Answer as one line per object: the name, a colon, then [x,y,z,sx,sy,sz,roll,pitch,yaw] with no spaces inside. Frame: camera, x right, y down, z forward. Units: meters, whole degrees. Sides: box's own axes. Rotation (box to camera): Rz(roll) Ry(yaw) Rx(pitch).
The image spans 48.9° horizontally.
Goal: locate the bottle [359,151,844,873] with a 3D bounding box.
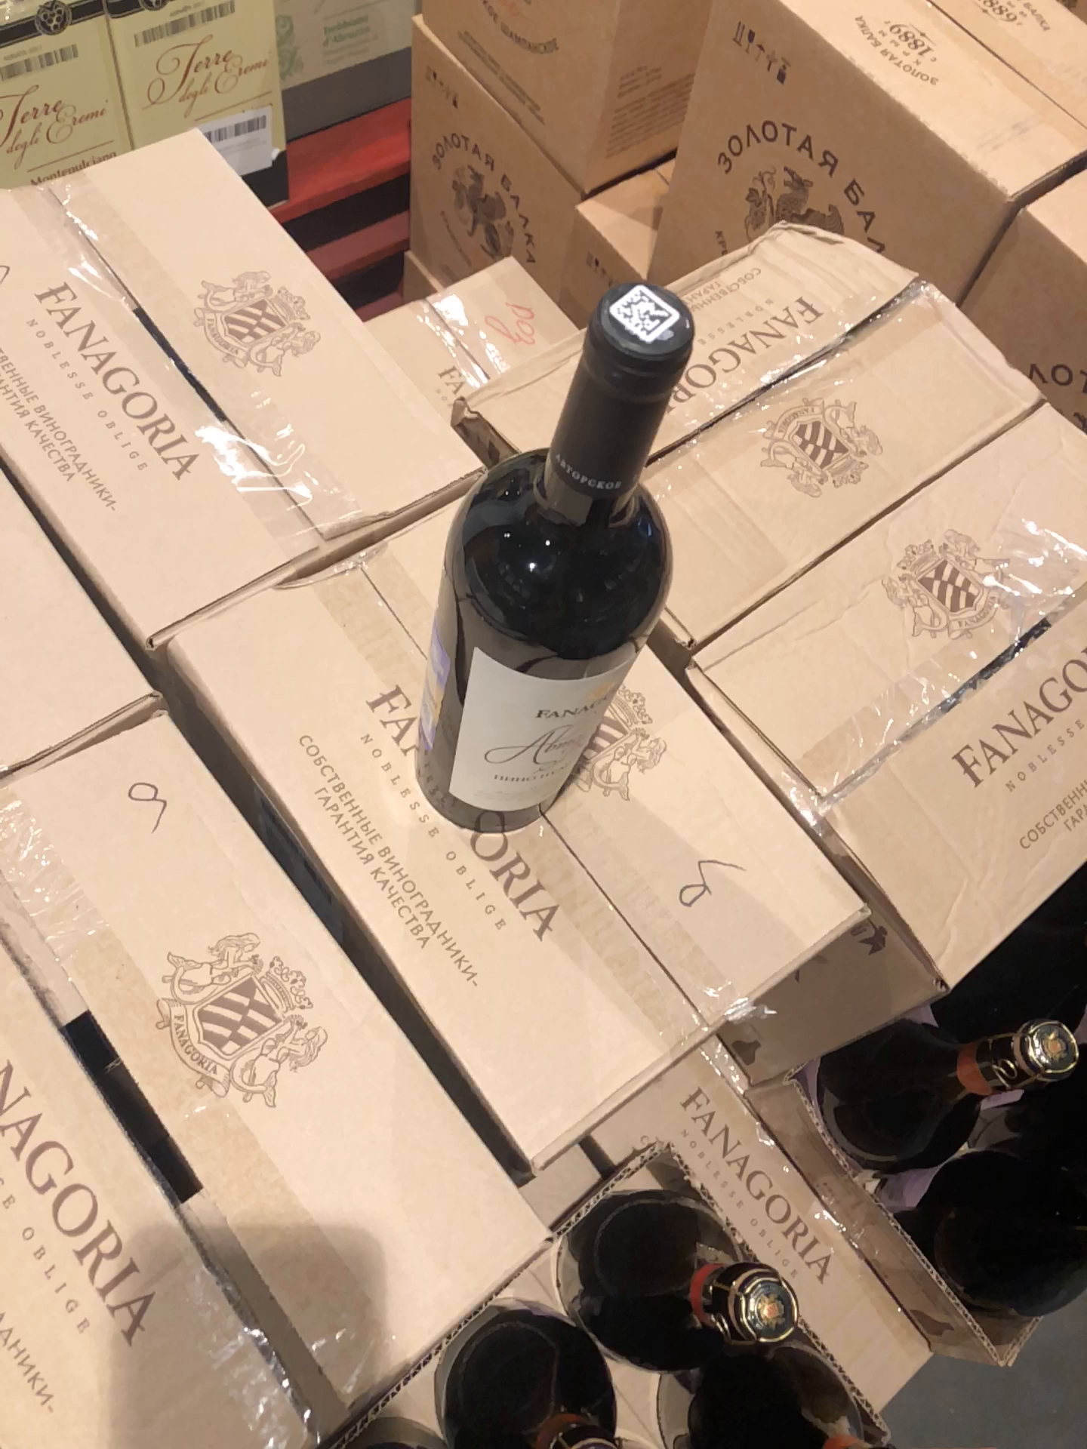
bottle: [-0.004,-0.051,0.470,0.100,0.309,0.090,-27,72,-20]
